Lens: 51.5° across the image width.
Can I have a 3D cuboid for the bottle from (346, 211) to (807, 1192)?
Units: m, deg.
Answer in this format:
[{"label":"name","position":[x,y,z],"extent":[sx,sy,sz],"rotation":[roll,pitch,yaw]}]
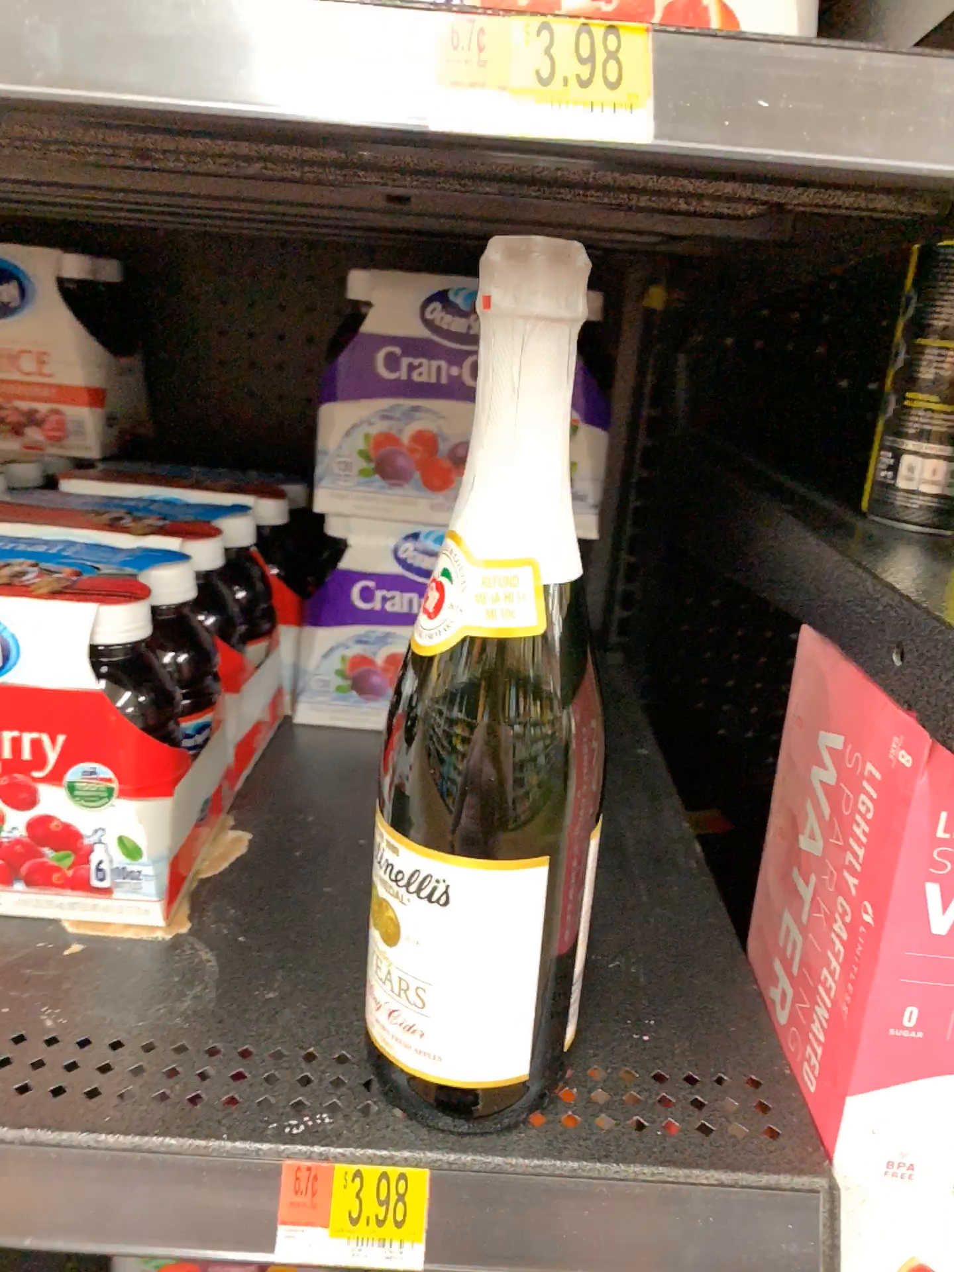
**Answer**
[{"label":"bottle","position":[0.017,0.025,0.333],"extent":[0.090,0.299,0.090],"rotation":[4,19,-2]}]
